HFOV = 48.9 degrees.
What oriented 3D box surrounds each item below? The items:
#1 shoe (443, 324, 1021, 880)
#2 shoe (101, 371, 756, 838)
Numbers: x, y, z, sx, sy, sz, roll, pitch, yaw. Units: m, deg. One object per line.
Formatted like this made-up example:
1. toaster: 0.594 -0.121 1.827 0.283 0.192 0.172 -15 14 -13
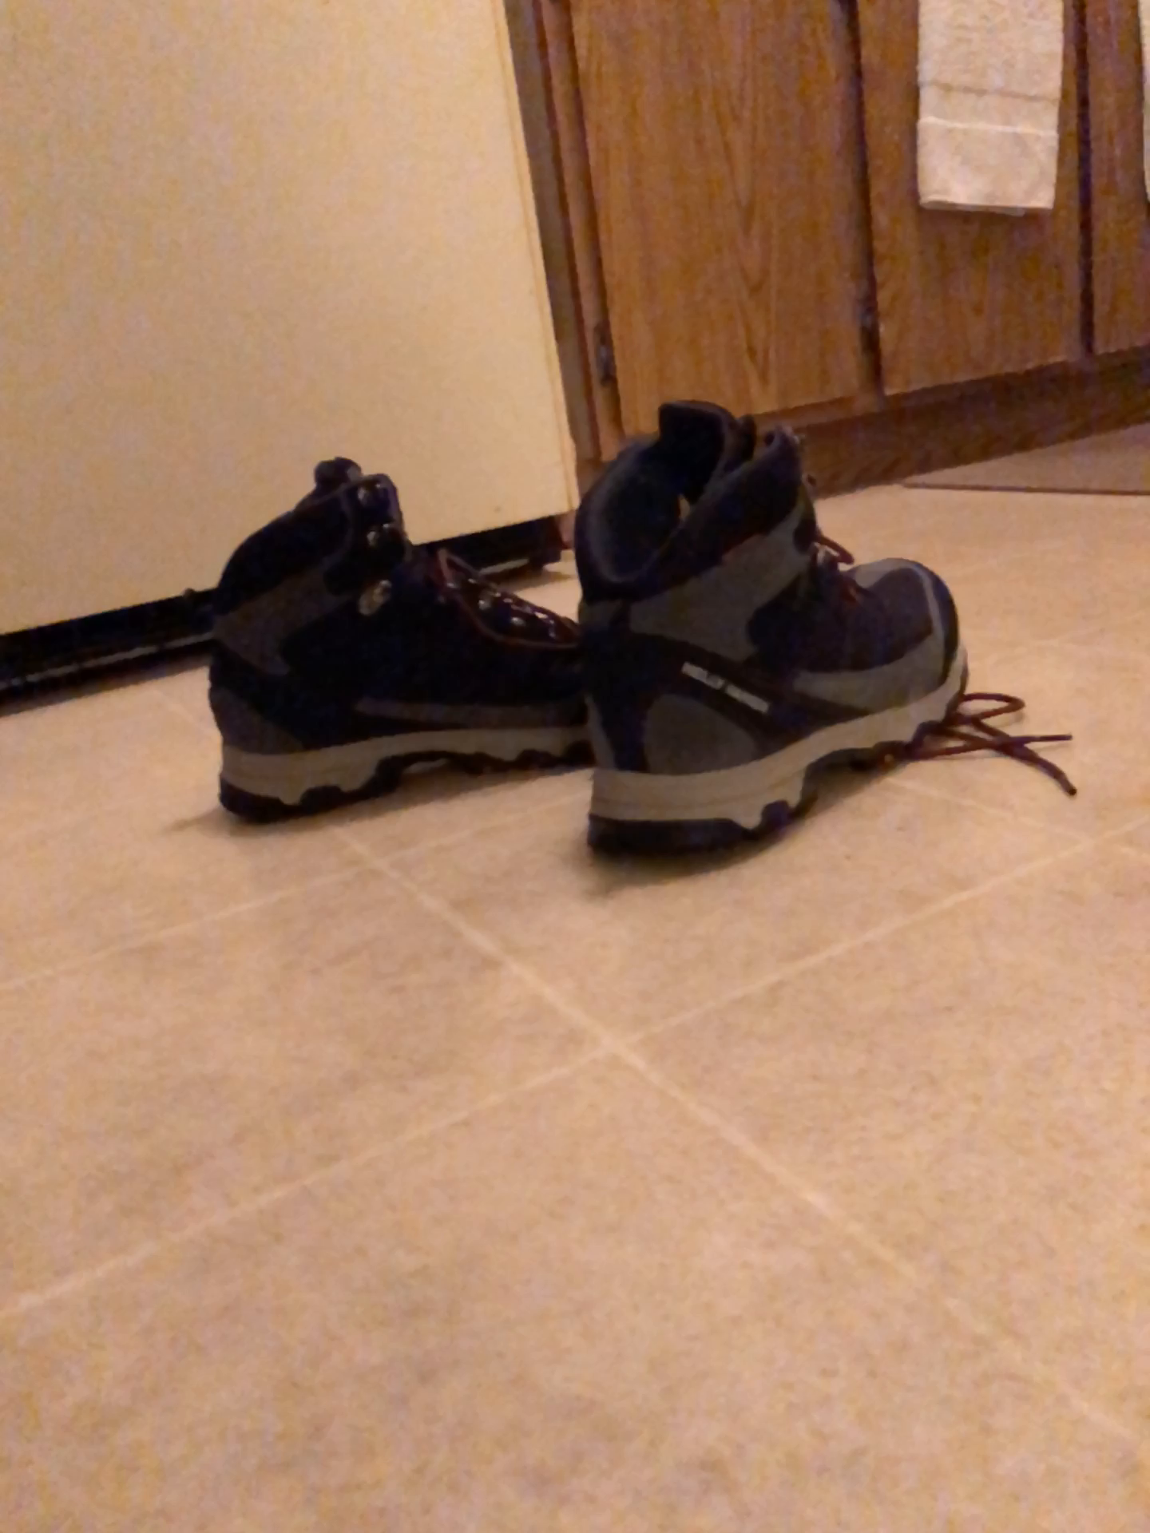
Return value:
1. shoe: 0.100 -0.099 0.636 0.116 0.195 0.300 7 24 42
2. shoe: -0.074 -0.099 0.721 0.309 0.195 0.127 -10 17 -4
